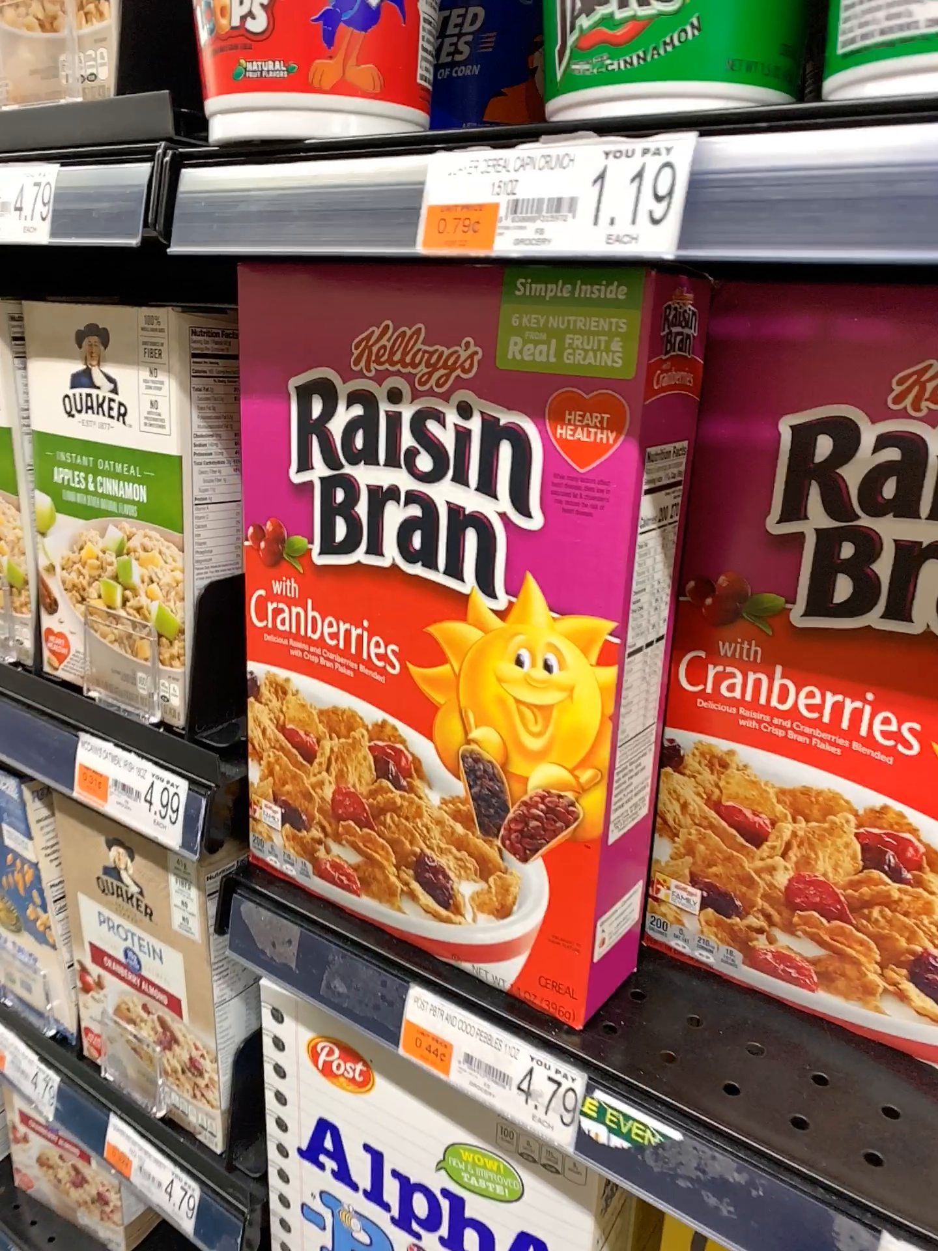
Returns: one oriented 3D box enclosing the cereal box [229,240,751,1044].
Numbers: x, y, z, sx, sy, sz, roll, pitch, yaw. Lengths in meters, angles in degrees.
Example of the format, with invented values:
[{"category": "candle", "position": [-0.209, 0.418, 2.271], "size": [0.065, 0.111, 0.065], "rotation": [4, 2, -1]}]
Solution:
[{"category": "cereal box", "position": [-0.008, -0.005, 0.407], "size": [0.200, 0.289, 0.060], "rotation": [15, 21, 34]}]
